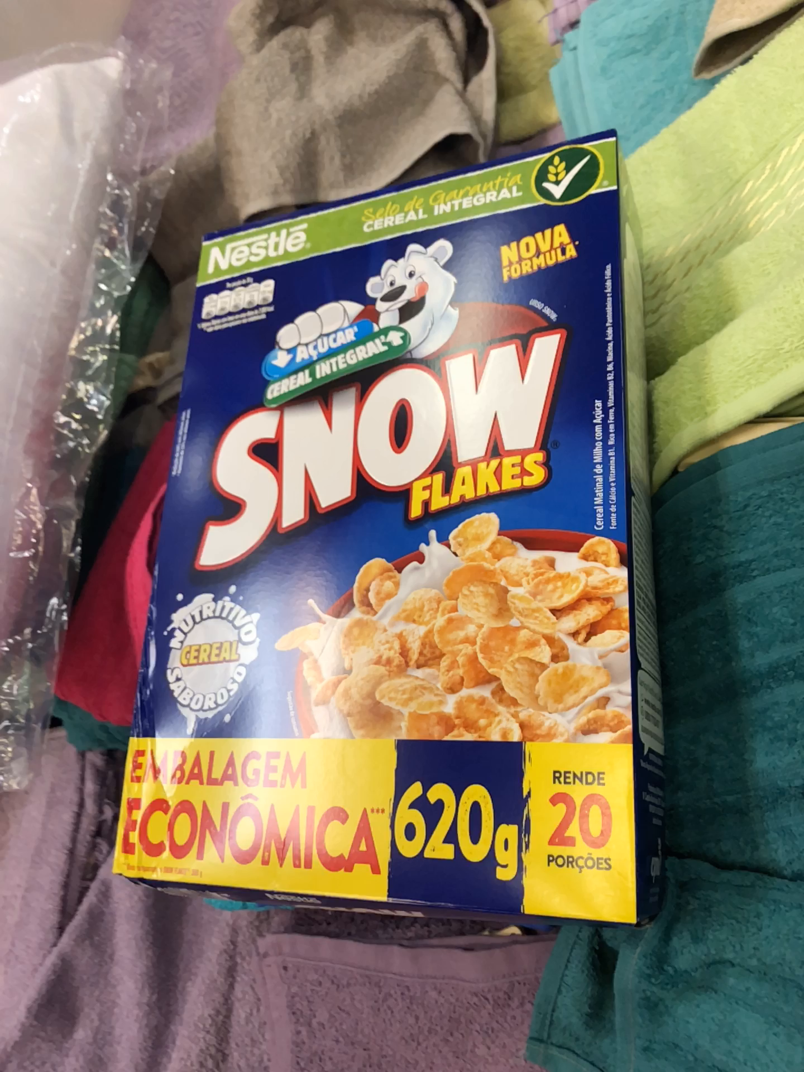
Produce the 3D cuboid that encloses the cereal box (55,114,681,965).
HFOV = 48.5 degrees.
[{"bbox_3d":[-0.008,-0.003,0.373,0.220,0.070,0.301,-5,68,26],"label":"cereal box"}]
